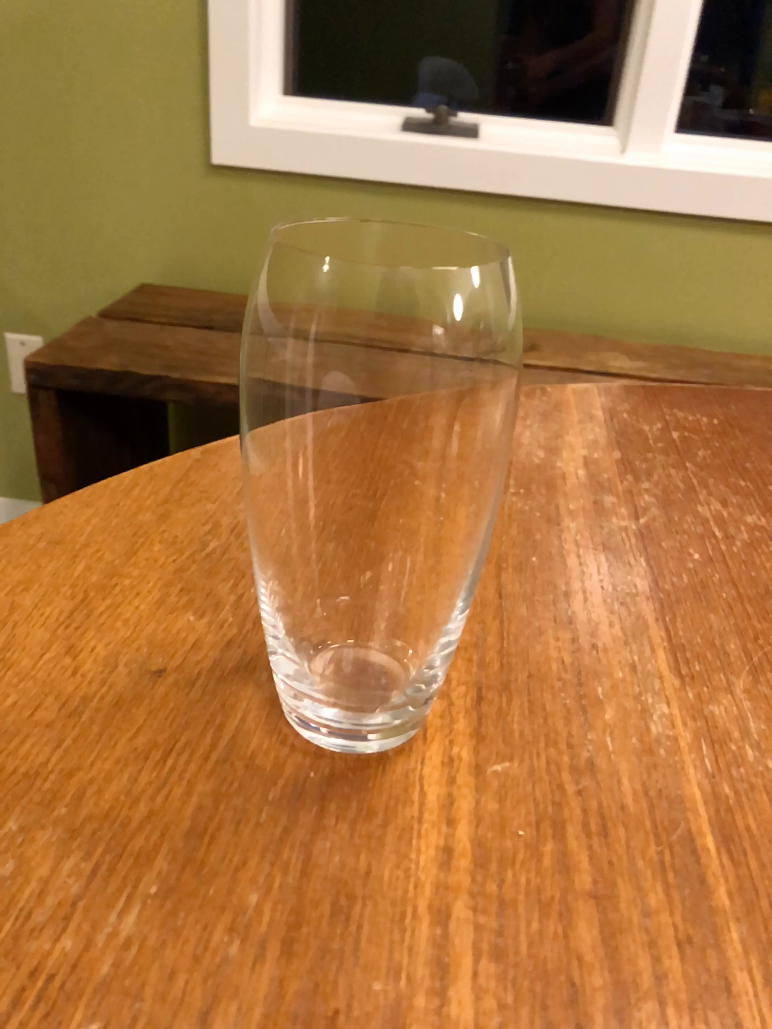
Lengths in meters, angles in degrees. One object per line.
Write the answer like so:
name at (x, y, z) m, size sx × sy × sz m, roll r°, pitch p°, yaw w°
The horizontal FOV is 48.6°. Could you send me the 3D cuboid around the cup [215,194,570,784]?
cup at (-0.001, -0.008, 0.267) m, size 0.081 × 0.156 × 0.081 m, roll 4°, pitch 28°, yaw -2°
